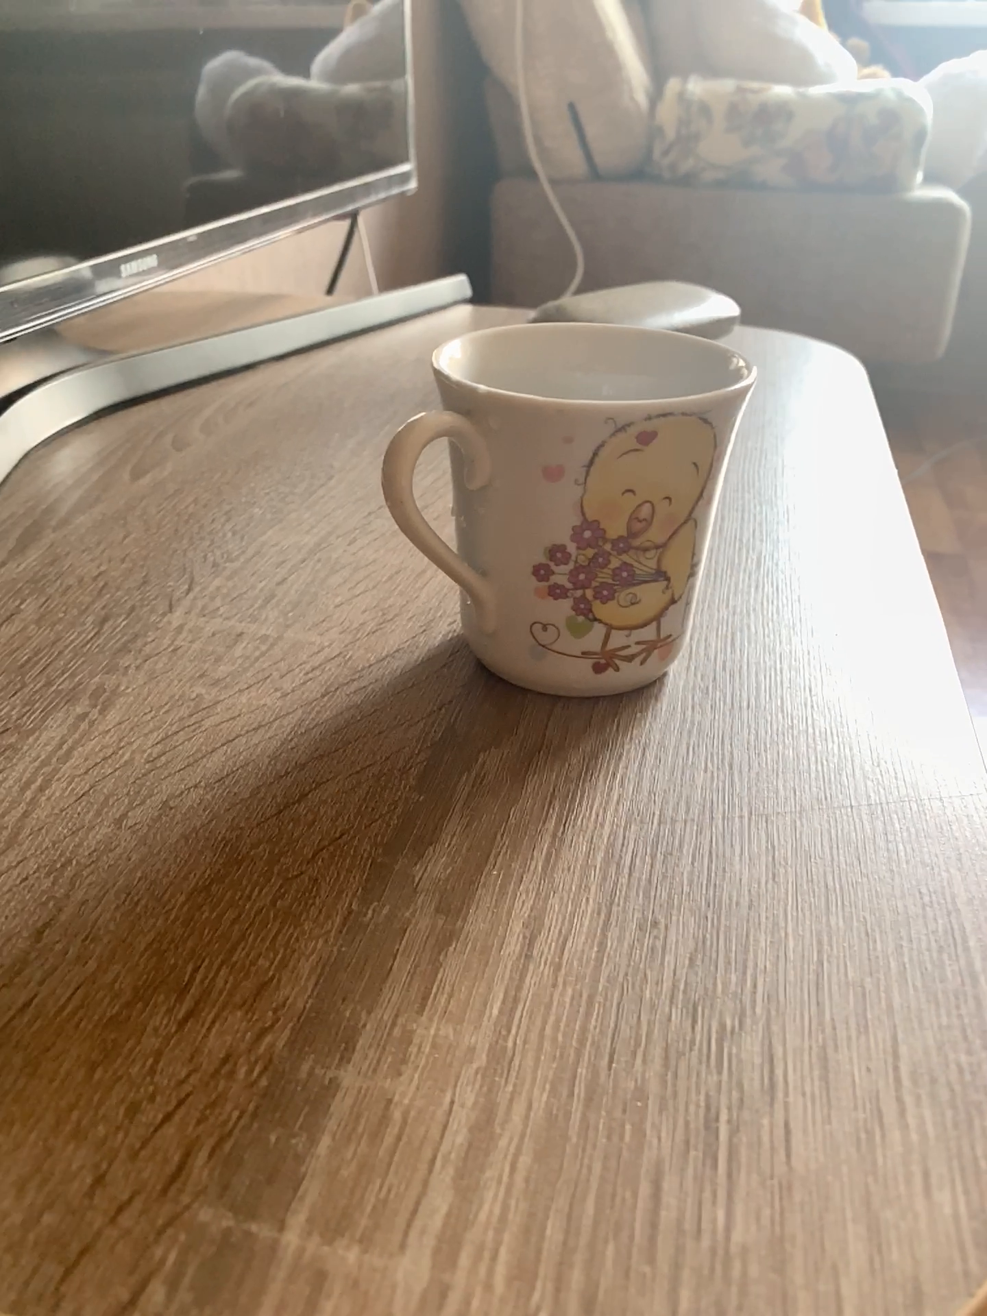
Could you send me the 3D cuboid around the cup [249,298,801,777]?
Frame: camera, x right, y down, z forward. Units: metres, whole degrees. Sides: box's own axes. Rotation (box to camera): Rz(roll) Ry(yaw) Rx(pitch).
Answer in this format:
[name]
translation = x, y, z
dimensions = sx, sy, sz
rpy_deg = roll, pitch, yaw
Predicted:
[cup]
translation = 0.009, -0.039, 0.259
dimensions = 0.110, 0.080, 0.070
rpy_deg = -20, 35, -33
